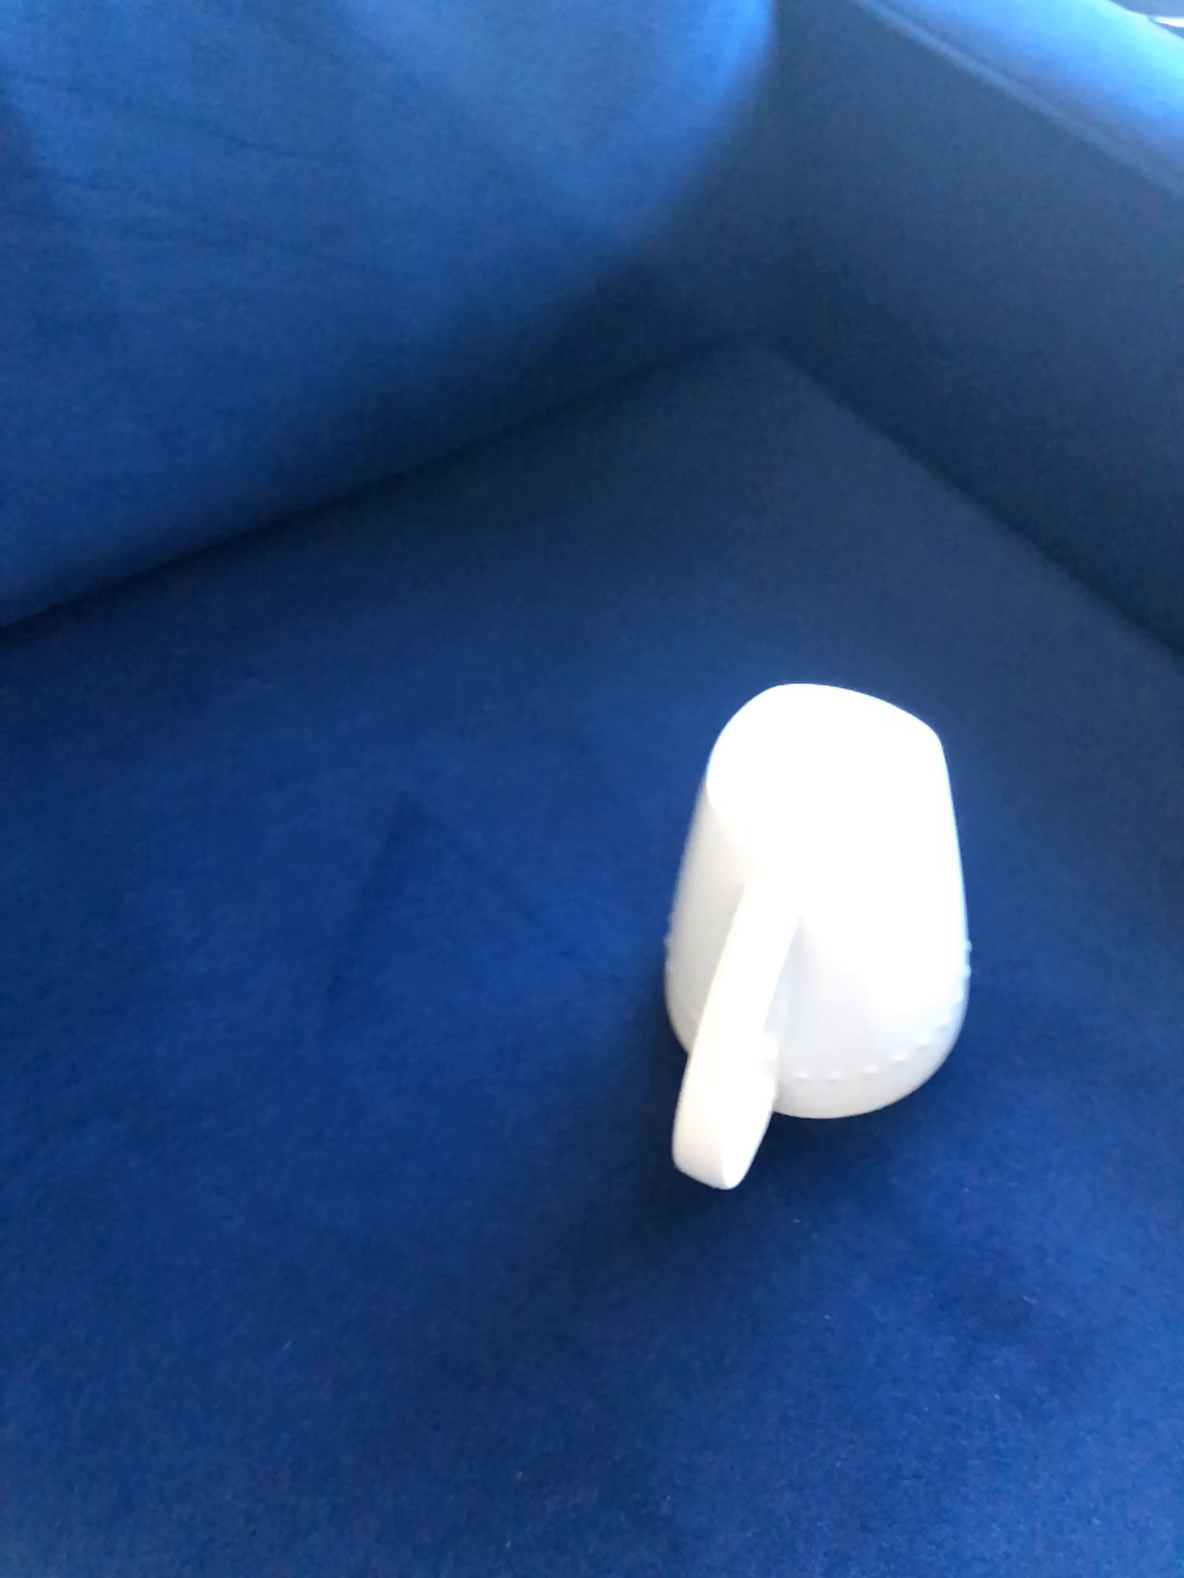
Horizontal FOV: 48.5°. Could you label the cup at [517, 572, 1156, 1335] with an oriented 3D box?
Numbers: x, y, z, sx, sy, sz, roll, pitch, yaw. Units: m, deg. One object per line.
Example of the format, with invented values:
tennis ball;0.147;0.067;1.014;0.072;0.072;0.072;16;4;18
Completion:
cup;0.066;0.038;0.351;0.110;0.090;0.150;19;56;16
